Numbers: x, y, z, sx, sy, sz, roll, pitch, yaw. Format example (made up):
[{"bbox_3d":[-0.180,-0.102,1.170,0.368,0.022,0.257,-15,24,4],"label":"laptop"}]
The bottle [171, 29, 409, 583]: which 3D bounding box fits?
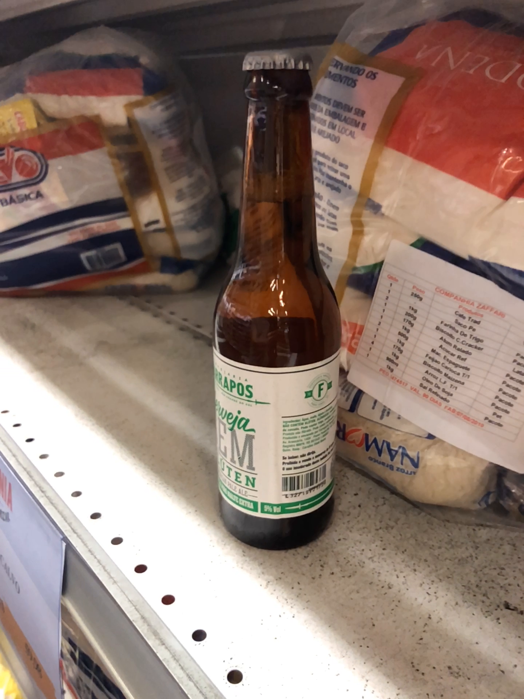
[{"bbox_3d":[0.011,-0.015,0.271,0.060,0.228,0.070,-18,29,-34],"label":"bottle"}]
